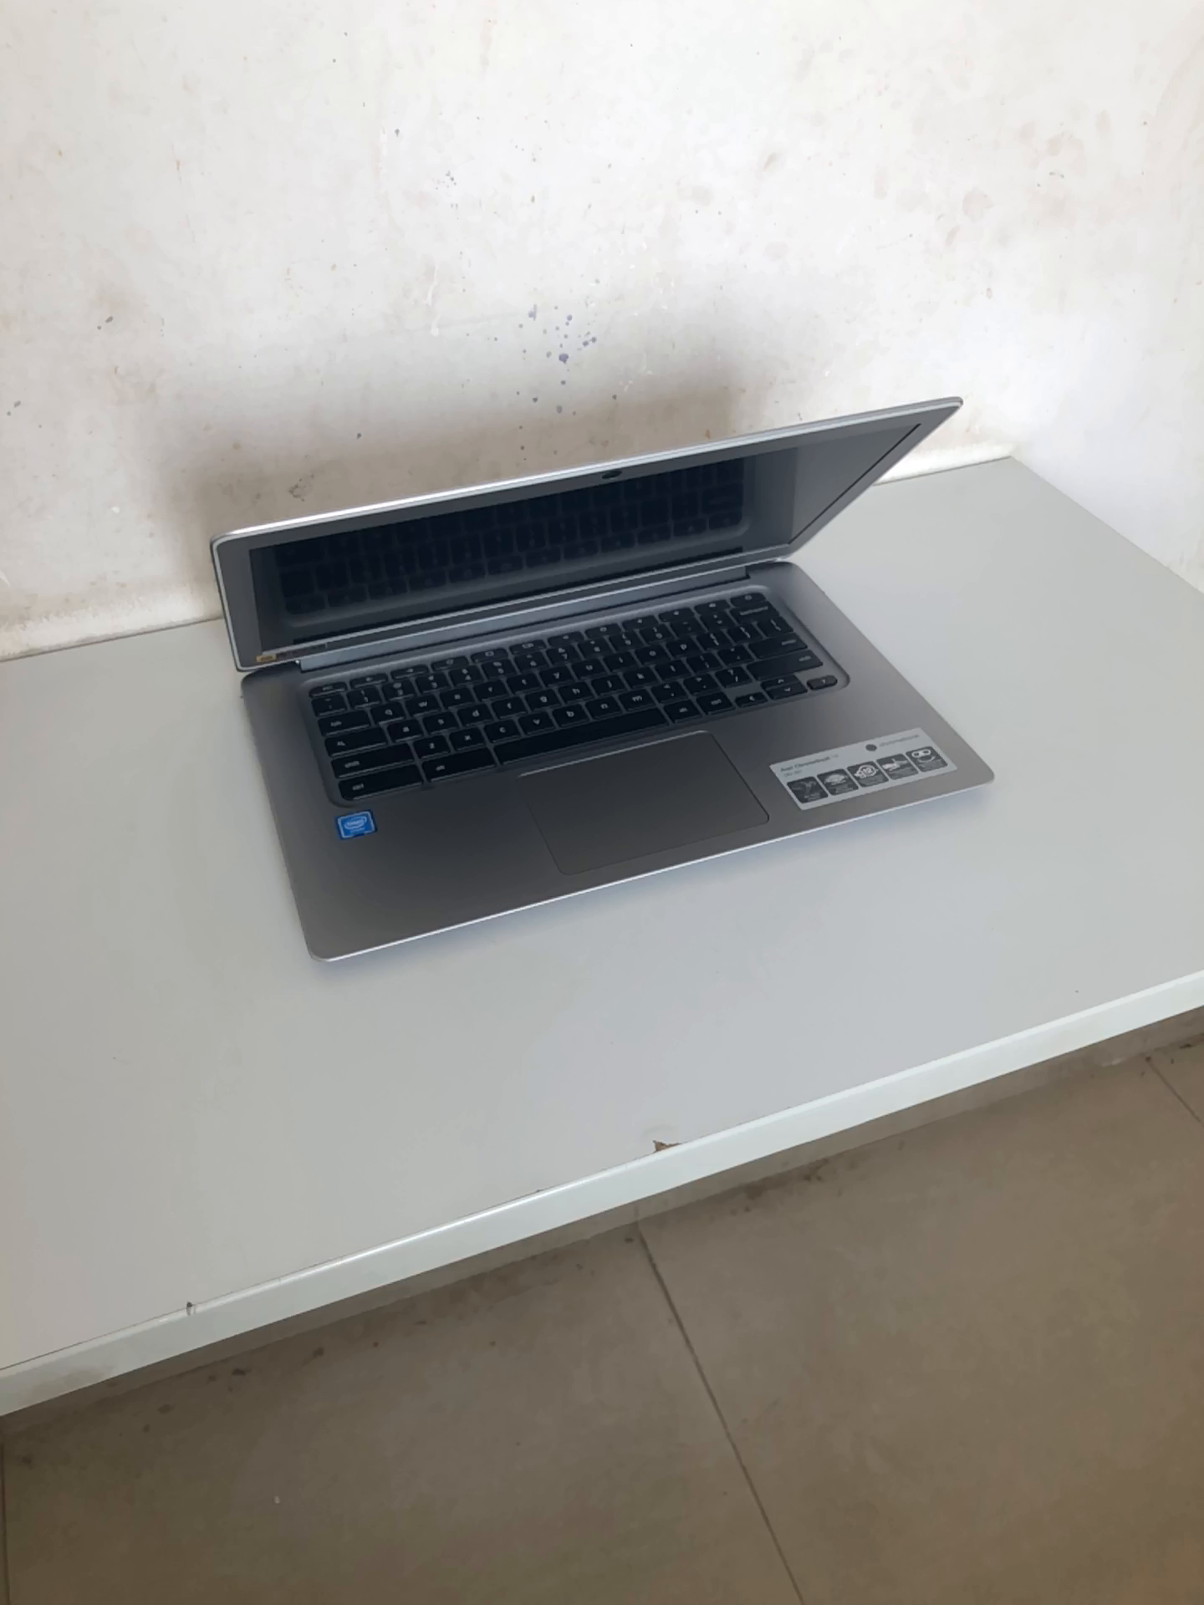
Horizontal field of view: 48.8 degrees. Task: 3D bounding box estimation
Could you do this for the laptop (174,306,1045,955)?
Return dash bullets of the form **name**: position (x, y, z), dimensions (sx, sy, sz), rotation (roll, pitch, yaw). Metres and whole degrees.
- **laptop**: position (-0.008, -0.100, 0.631), dimensions (0.326, 0.155, 0.223), rotation (-14, 41, -14)
